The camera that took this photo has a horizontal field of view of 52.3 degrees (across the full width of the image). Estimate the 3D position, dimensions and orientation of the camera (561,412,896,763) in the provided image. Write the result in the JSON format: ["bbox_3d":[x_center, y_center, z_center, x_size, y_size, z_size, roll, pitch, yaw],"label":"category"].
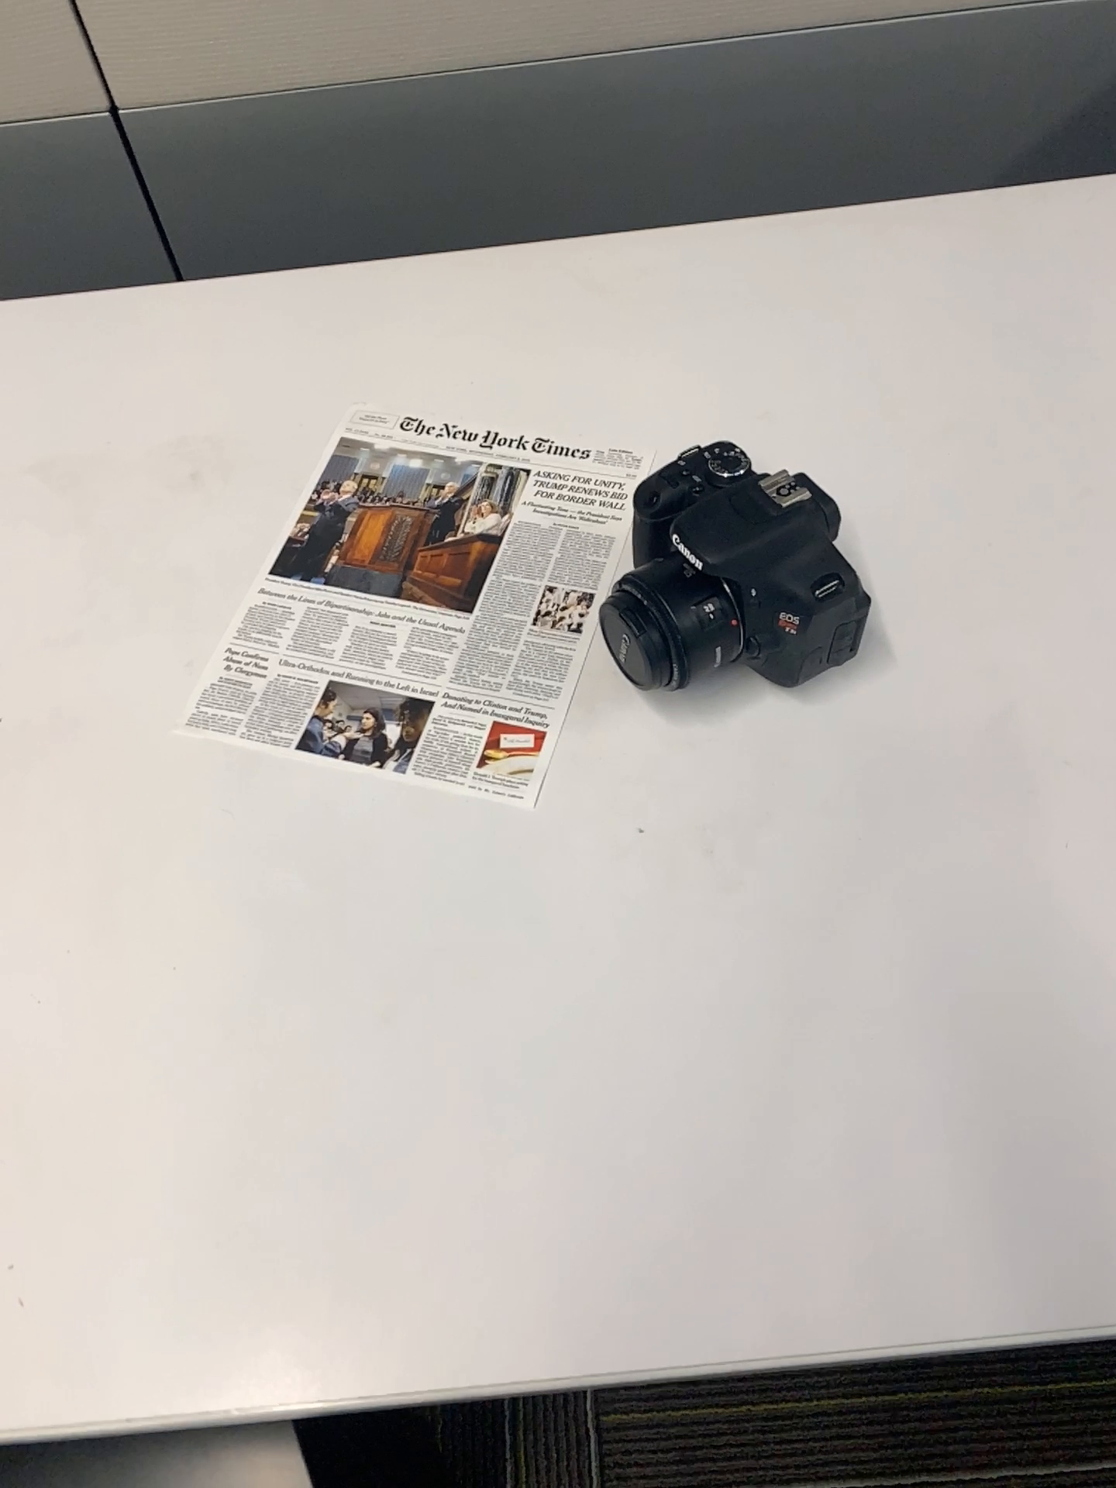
[{"bbox_3d":[0.081,-0.079,0.571,0.114,0.090,0.109,-28,59,-13],"label":"camera"}]
